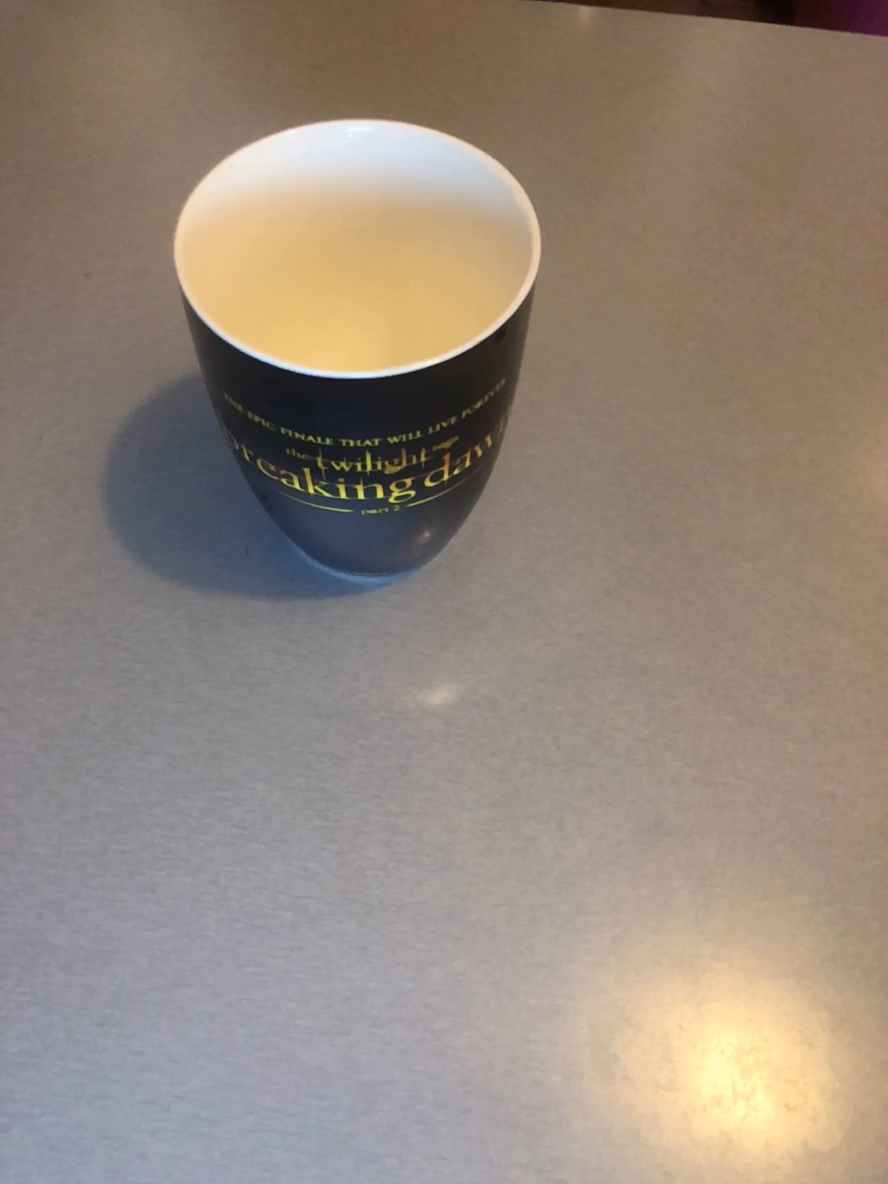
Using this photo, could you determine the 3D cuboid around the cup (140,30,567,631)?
[{"bbox_3d":[-0.025,-0.072,0.283,0.090,0.100,0.130,-4,61,-3],"label":"cup"}]
